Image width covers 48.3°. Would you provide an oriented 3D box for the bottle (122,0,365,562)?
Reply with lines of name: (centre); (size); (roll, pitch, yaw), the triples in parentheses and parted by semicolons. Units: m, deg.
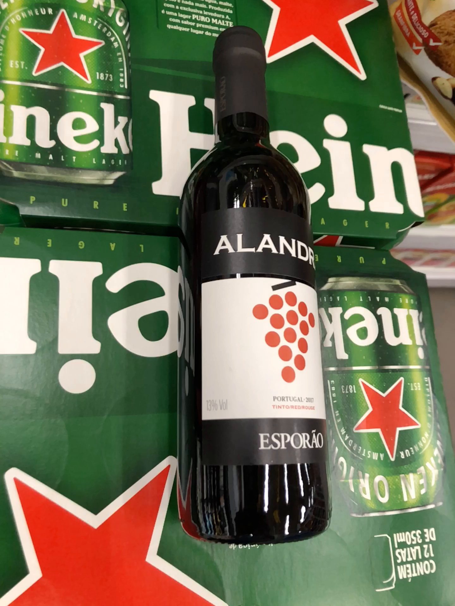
bottle: (-0.003, -0.034, 0.212); (0.060, 0.060, 0.240); (4, 73, -30)
